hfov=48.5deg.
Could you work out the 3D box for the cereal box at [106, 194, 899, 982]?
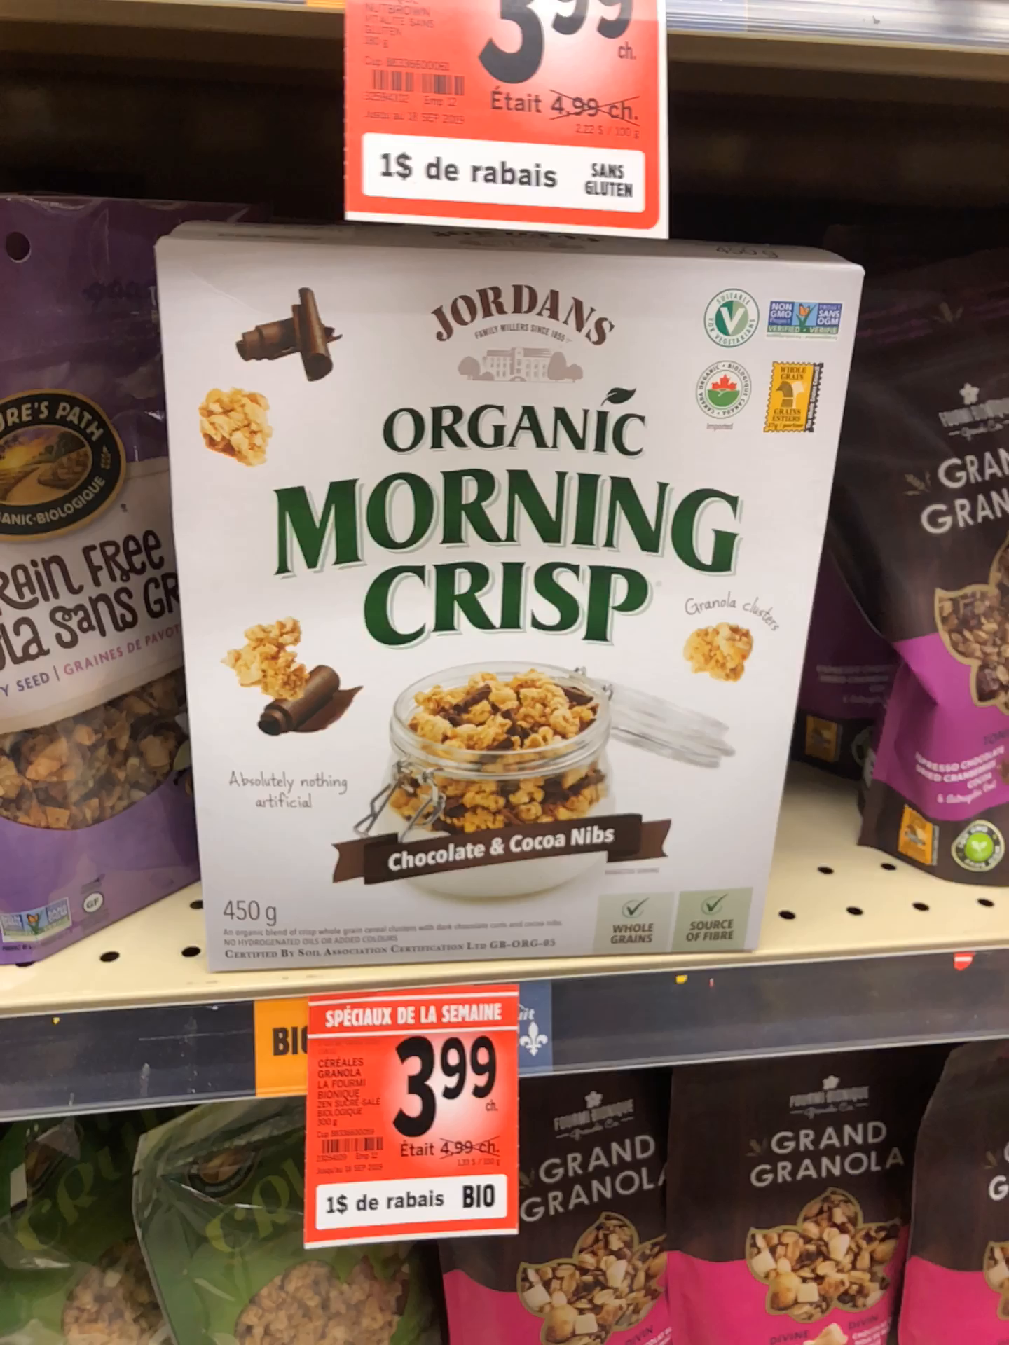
[{"bbox_3d":[-0.004,-0.017,0.316,0.180,0.209,0.050,0,23,-7],"label":"cereal box"}]
